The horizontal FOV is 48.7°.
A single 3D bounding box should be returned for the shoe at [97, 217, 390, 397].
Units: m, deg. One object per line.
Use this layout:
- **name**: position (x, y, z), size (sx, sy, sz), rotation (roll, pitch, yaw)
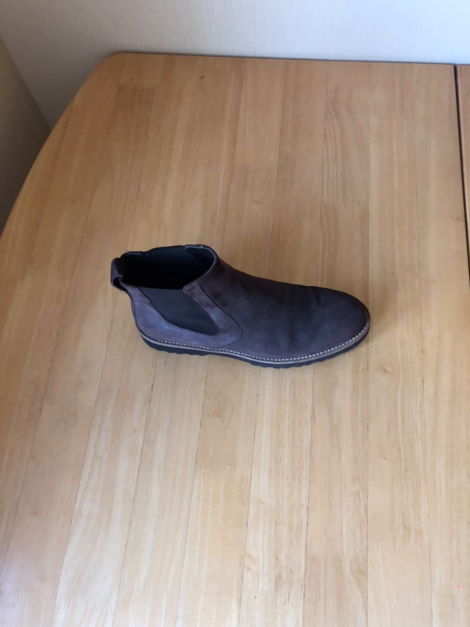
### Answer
- **shoe**: position (0.012, -0.001, 0.466), size (0.220, 0.120, 0.100), rotation (6, 68, 6)
